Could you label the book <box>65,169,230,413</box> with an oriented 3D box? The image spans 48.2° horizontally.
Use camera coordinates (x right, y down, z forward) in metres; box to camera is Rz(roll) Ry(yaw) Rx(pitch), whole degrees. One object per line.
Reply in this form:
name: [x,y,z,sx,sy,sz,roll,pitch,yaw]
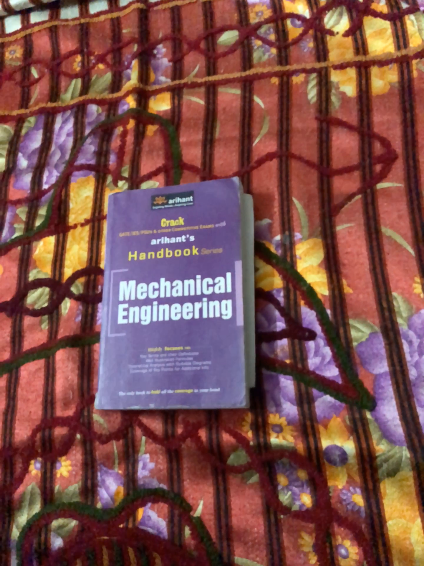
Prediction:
book: [-0.061,0.007,0.476,0.147,0.040,0.231,-5,71,11]
